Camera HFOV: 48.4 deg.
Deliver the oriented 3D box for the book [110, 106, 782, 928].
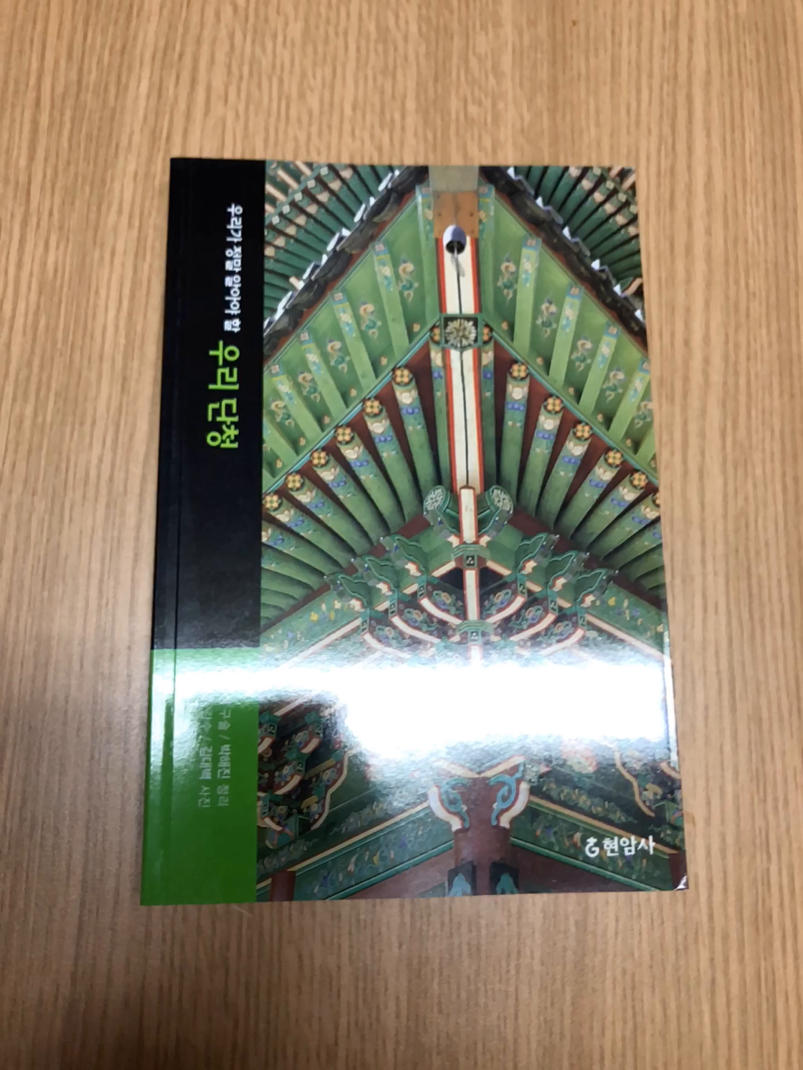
[{"bbox_3d":[0.009,-0.011,0.245,0.160,0.030,0.210,0,79,-5],"label":"book"}]
